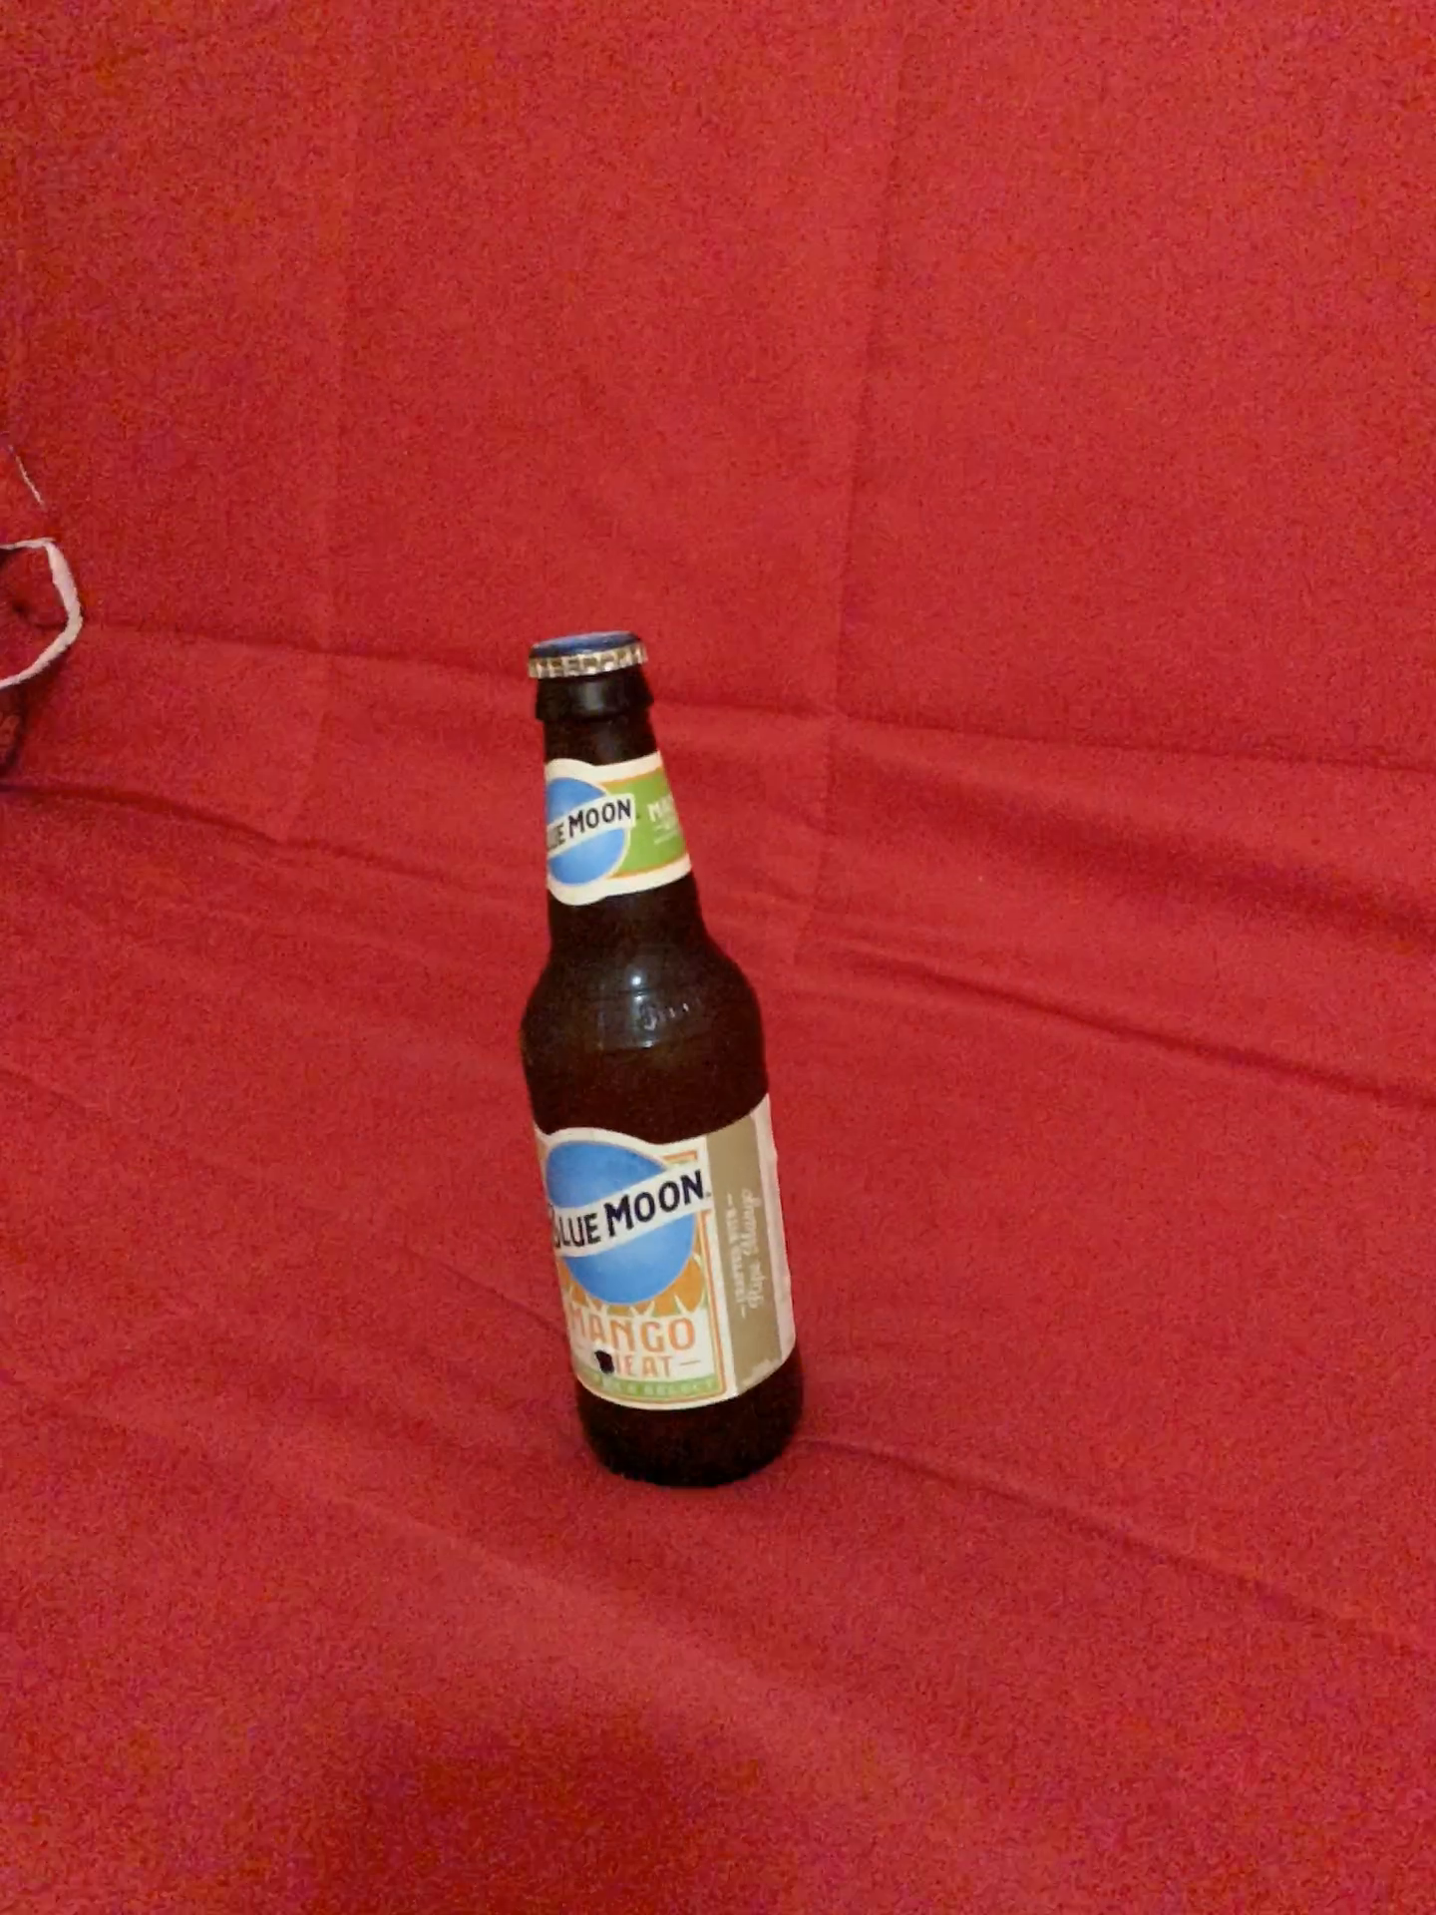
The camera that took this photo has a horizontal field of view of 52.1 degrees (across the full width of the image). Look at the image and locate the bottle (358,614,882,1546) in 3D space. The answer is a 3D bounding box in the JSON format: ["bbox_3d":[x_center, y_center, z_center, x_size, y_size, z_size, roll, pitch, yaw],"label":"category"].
[{"bbox_3d":[-0.017,0.030,0.373,0.070,0.216,0.069,-8,21,3],"label":"bottle"}]
